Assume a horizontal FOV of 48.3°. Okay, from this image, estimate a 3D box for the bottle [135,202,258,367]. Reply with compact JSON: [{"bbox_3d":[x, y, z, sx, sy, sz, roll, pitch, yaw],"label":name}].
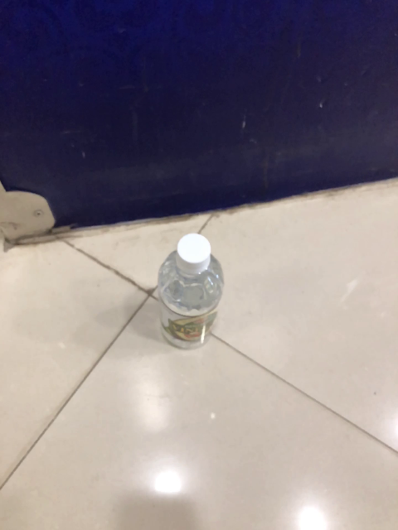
[{"bbox_3d":[-0.008,0.031,0.445,0.080,0.189,0.070,-18,65,-12],"label":"bottle"}]
